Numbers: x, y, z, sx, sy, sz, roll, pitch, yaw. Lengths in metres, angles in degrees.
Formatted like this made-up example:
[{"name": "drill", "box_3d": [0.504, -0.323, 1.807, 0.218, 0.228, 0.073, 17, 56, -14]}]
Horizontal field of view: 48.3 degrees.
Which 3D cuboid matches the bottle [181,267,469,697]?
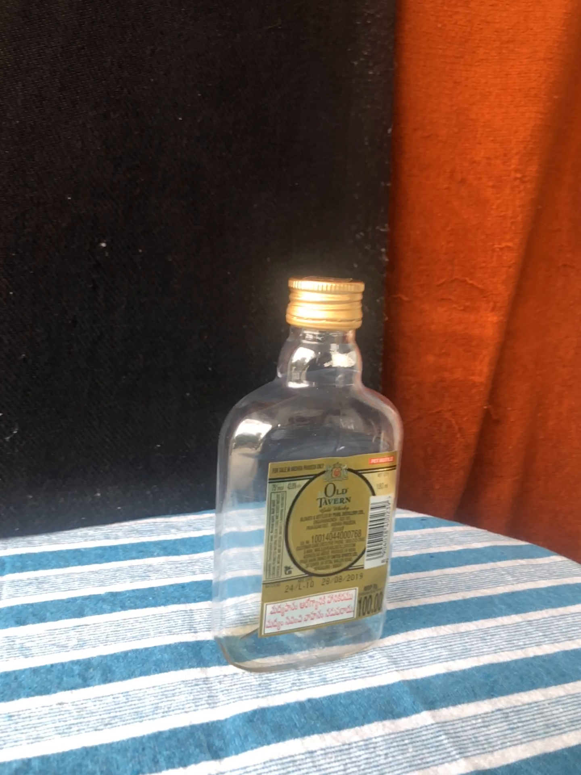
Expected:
[{"name": "bottle", "box_3d": [0.009, 0.031, 0.237, 0.080, 0.140, 0.040, 0, 15, -25]}]
